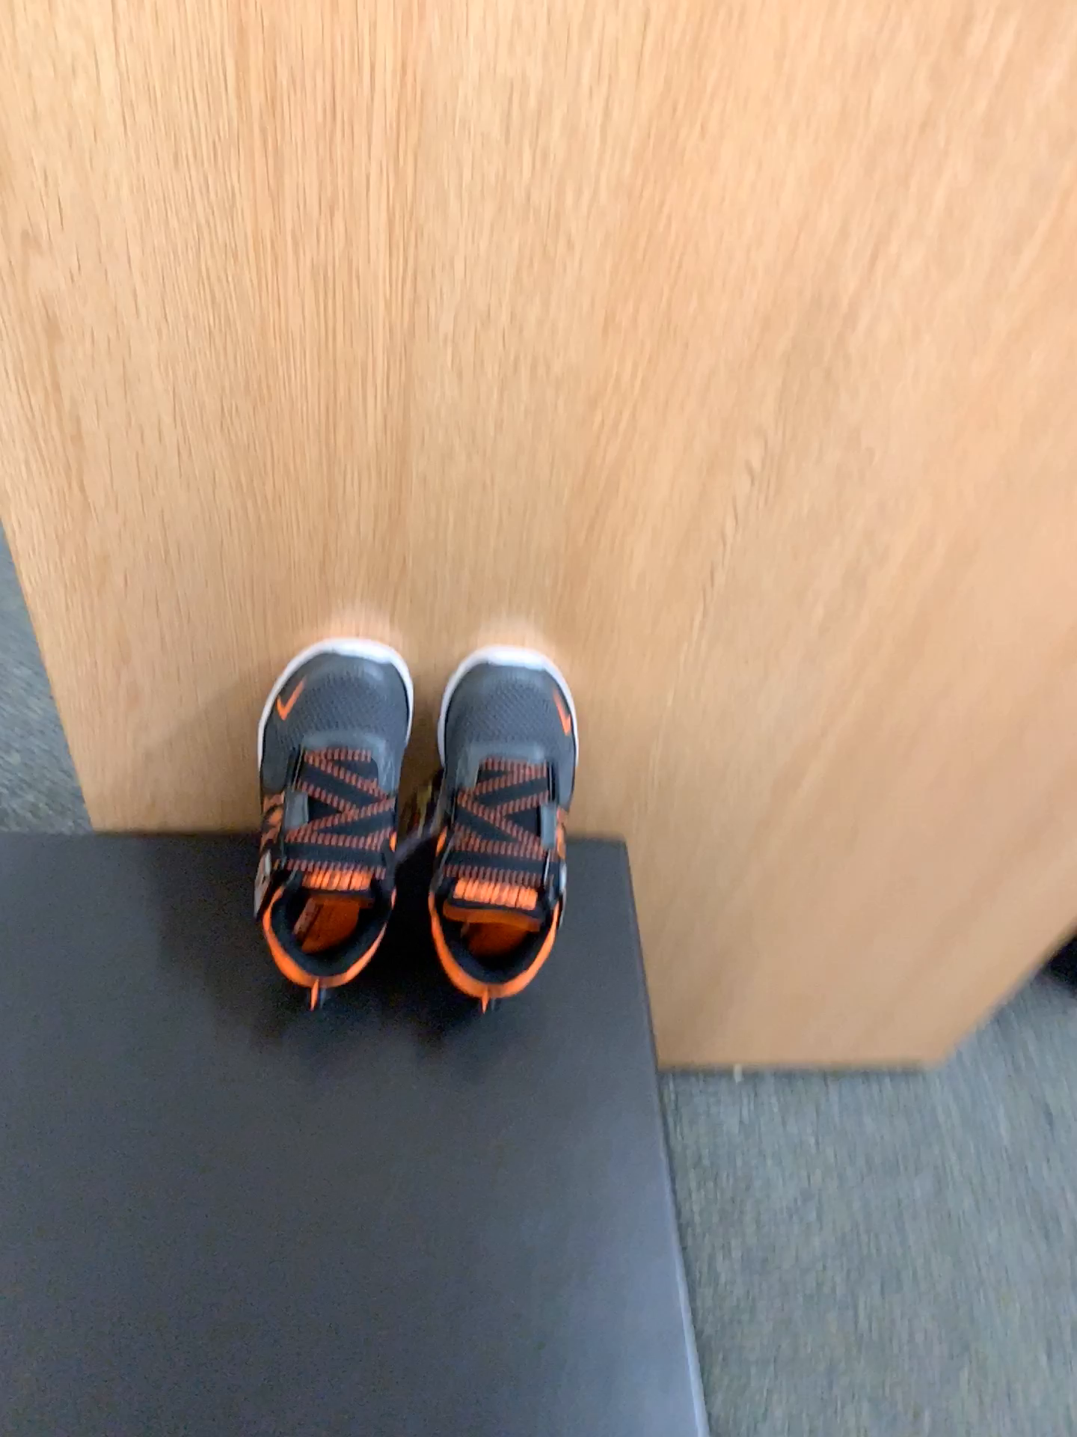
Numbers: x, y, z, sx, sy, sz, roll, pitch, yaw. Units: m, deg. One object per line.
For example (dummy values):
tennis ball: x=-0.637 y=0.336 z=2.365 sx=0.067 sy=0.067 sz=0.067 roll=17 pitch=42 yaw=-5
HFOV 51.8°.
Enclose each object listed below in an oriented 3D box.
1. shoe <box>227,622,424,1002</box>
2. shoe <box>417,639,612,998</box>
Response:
shoe: x=-0.115 y=0.048 z=0.613 sx=0.090 sy=0.180 sz=0.100 roll=4 pitch=15 yaw=-6
shoe: x=-0.019 y=0.055 z=0.650 sx=0.090 sy=0.180 sz=0.100 roll=4 pitch=15 yaw=-6
